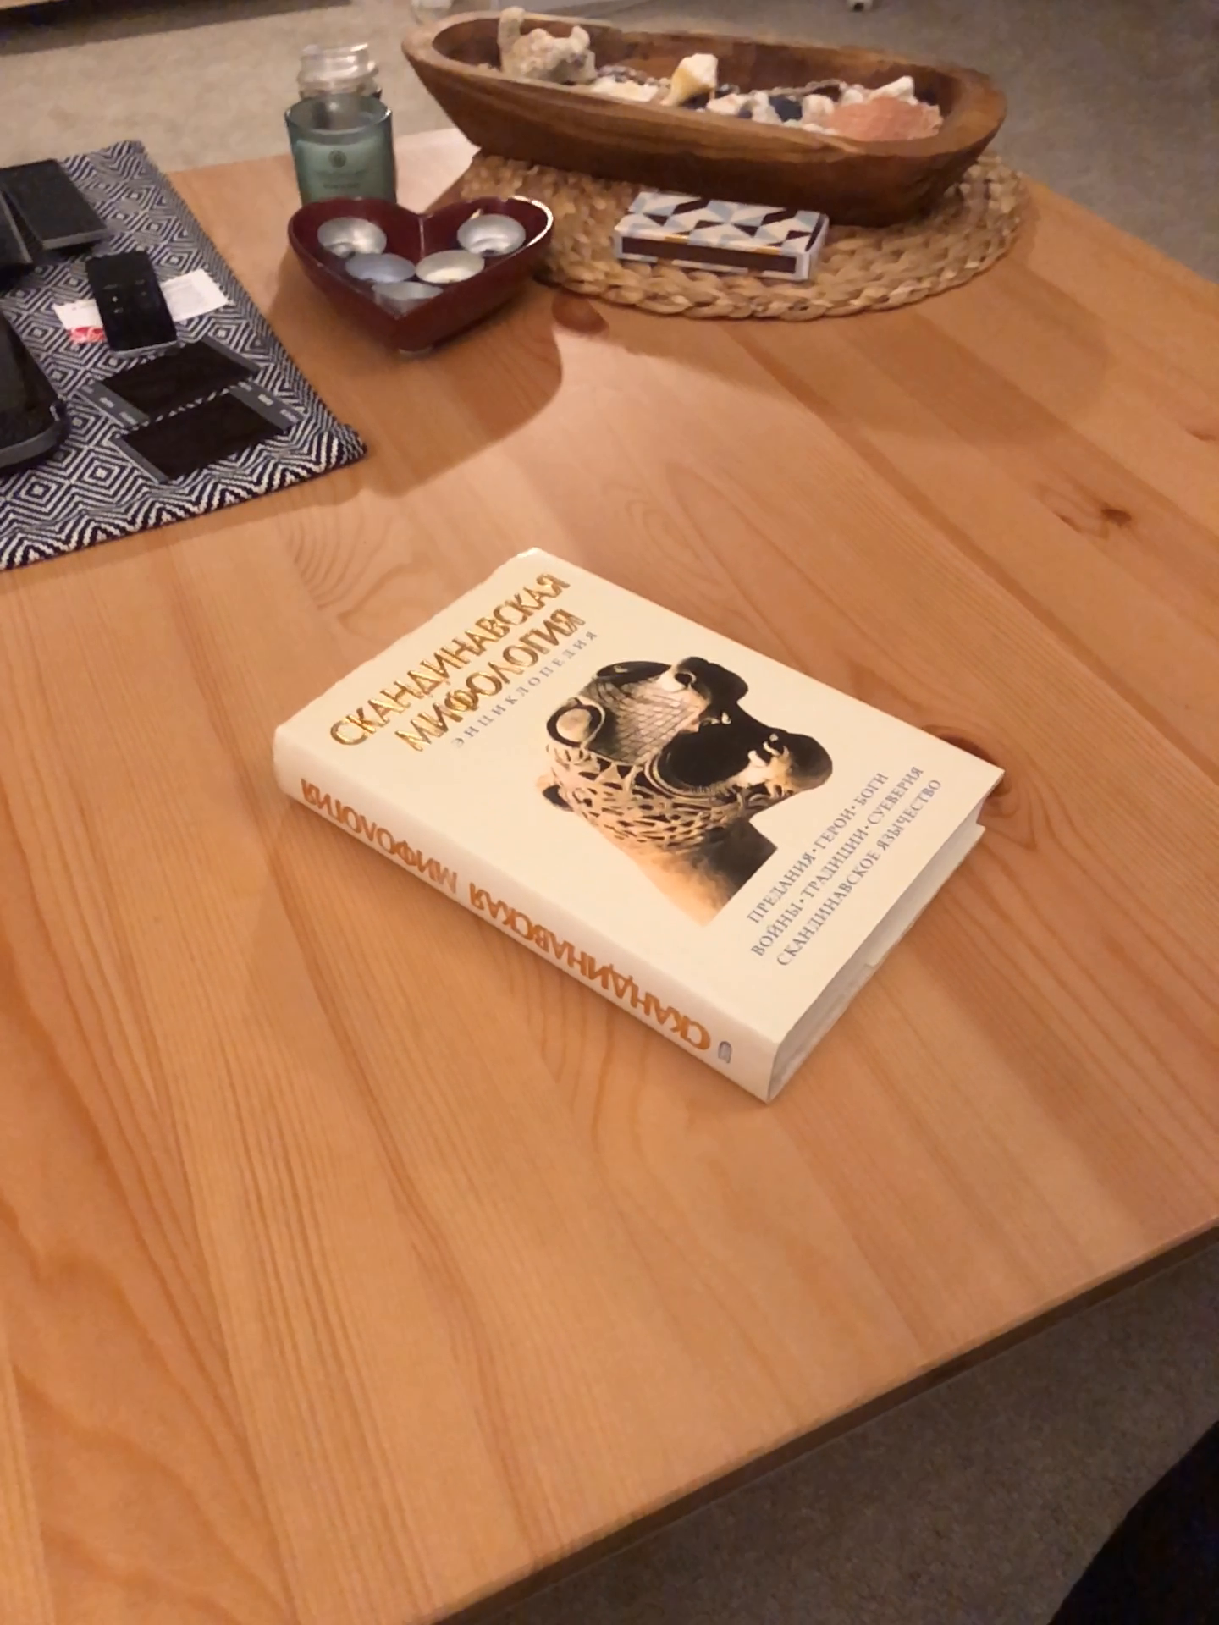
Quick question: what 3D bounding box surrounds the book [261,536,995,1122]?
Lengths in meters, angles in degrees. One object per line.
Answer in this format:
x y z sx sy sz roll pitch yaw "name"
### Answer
0.005 -0.009 0.480 0.210 0.037 0.147 31 54 24 "book"
